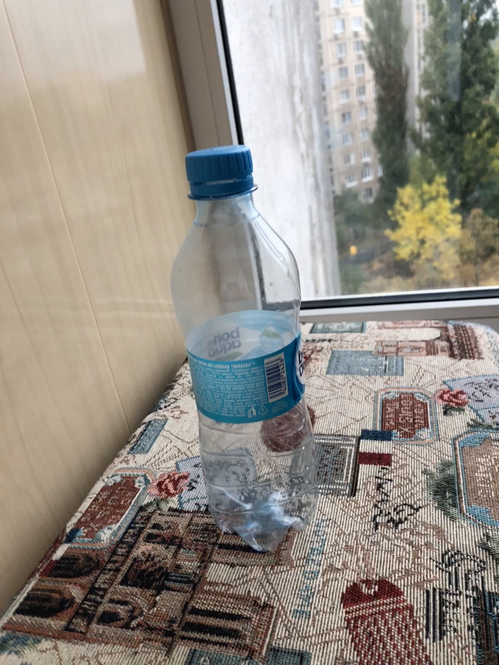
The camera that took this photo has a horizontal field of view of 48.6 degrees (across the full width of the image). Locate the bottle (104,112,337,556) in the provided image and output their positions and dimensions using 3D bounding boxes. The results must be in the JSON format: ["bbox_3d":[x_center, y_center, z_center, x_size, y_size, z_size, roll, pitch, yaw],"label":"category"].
[{"bbox_3d":[-0.004,0.005,0.287,0.070,0.209,0.081,-8,25,4],"label":"bottle"}]
